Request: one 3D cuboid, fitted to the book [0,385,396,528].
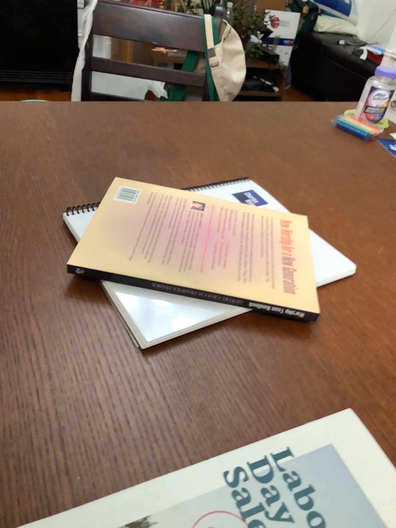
[{"bbox_3d":[0.044,0.188,0.248,0.270,0.010,0.201,-10,42,-24],"label":"book"}]

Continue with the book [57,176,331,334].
[{"bbox_3d":[0.006,-0.023,0.488,0.260,0.020,0.191,11,38,0],"label":"book"}]

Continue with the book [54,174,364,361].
[{"bbox_3d":[0.012,-0.025,0.519,0.291,0.020,0.231,-16,45,-29],"label":"book"}]
